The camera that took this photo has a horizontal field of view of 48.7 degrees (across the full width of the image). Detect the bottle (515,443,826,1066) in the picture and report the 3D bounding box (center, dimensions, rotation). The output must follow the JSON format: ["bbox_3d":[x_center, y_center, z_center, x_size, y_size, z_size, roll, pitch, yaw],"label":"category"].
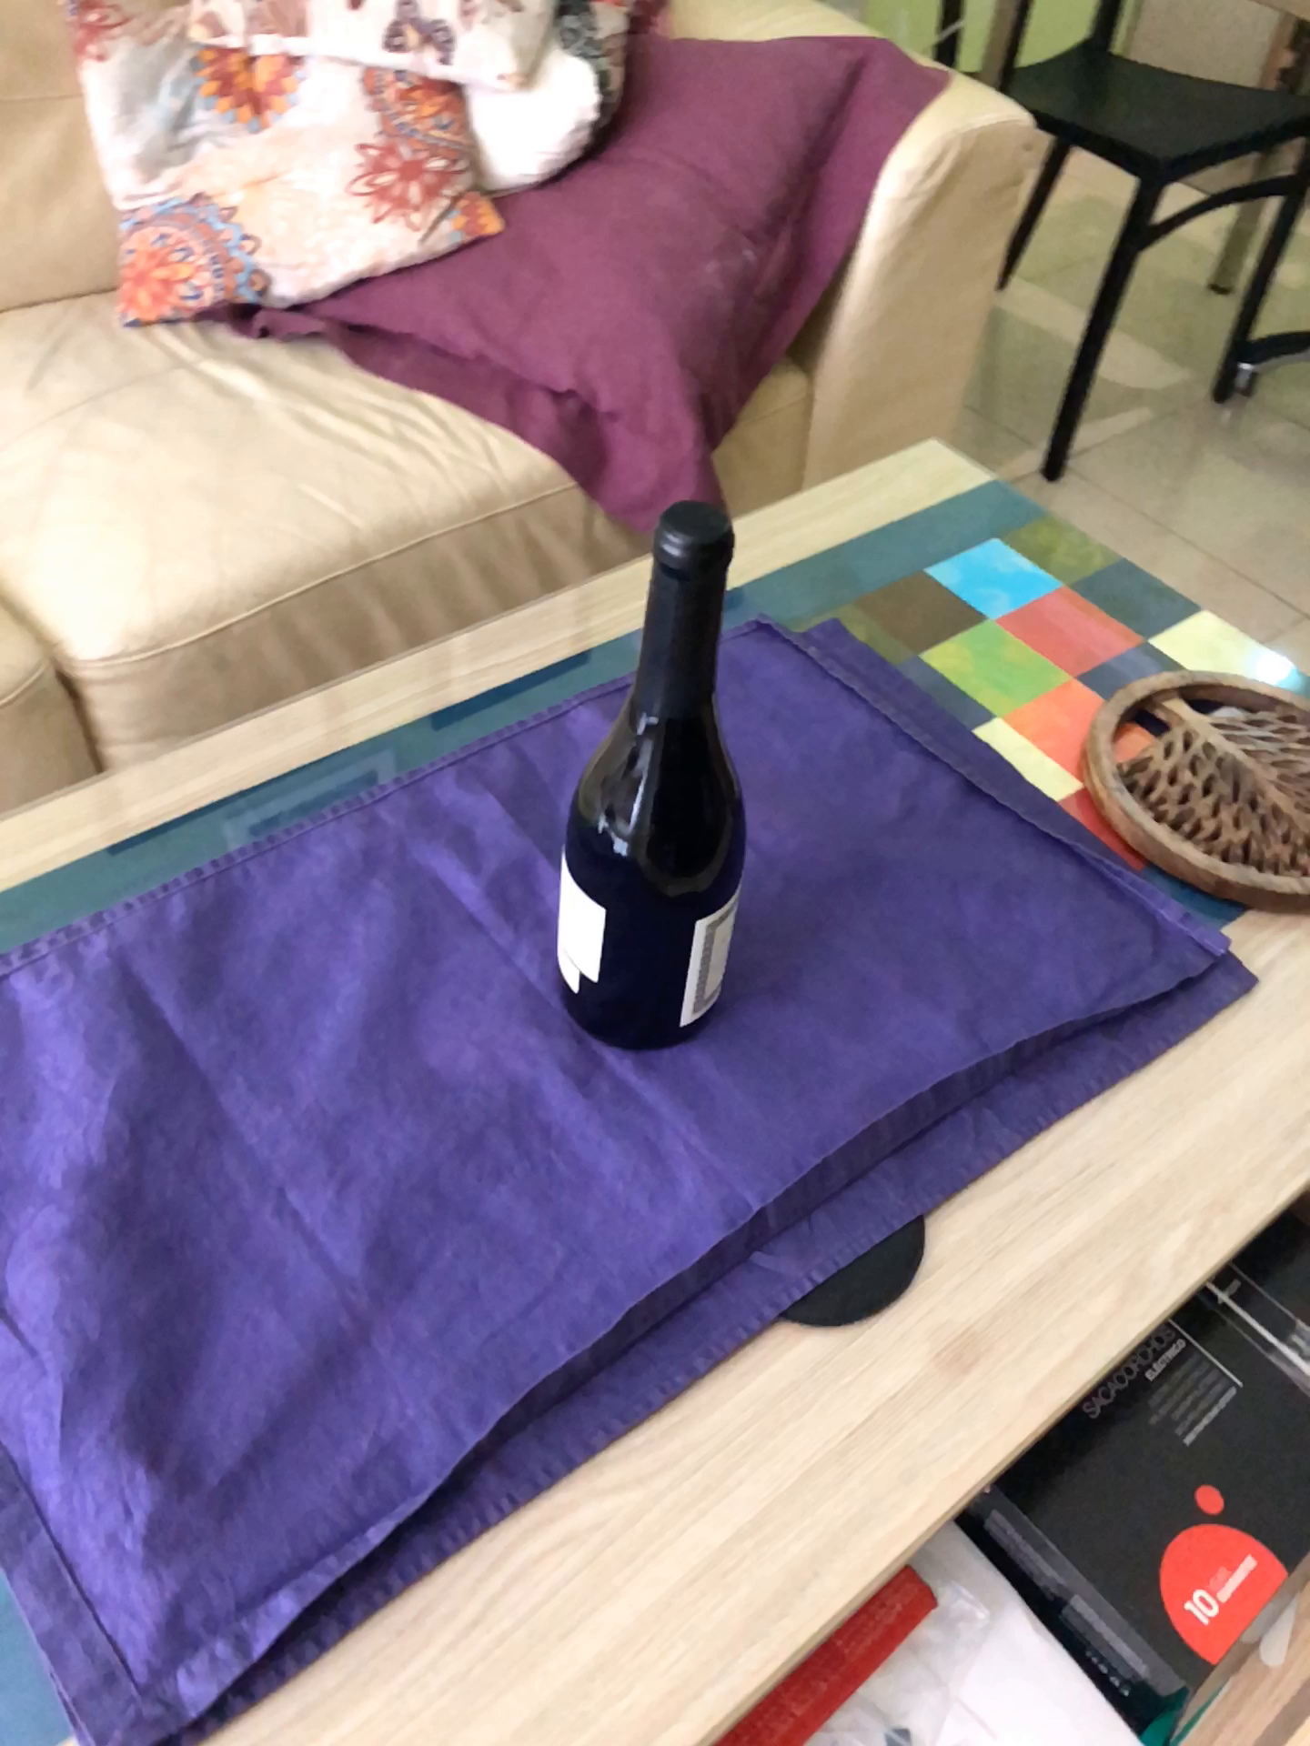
[{"bbox_3d":[-0.007,-0.040,0.627,0.100,0.259,0.110,-2,47,-8],"label":"bottle"}]
